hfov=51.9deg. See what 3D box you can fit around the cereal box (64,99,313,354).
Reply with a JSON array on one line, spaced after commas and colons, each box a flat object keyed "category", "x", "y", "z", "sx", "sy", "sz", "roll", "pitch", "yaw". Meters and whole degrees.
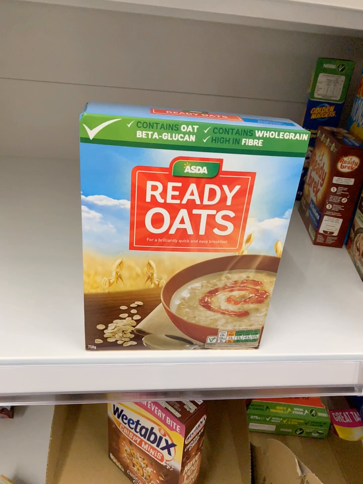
[{"category": "cereal box", "x": -0.005, "y": -0.004, "z": 0.400, "sx": 0.210, "sy": 0.258, "sz": 0.071, "roll": 2, "pitch": 28, "yaw": -8}]
